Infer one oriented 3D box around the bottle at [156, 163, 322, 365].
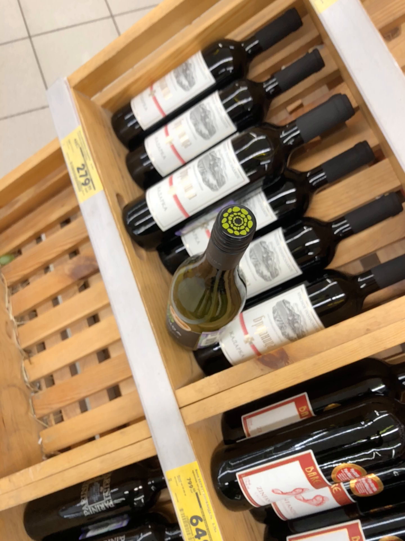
[{"bbox_3d":[0.011,0.019,0.453,0.090,0.289,0.090,2,70,-6],"label":"bottle"}]
